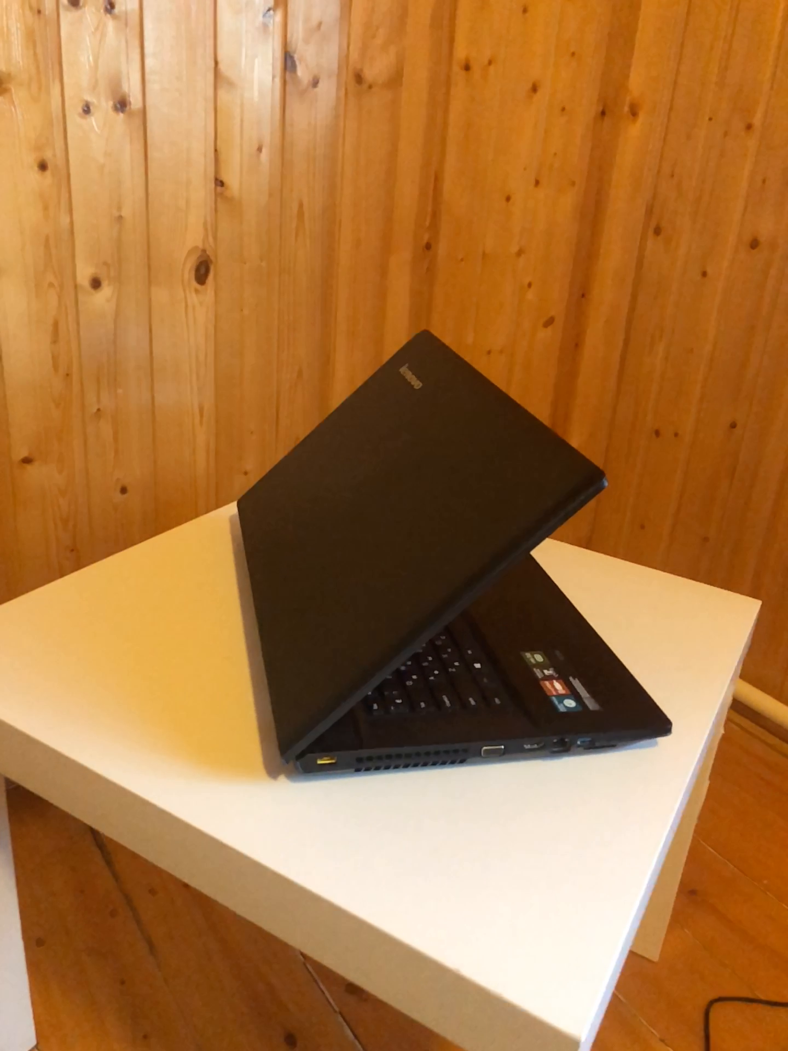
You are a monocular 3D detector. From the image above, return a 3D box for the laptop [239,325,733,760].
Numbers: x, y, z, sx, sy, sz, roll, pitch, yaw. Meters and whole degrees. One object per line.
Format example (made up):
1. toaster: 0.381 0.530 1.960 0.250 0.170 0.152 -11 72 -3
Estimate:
1. laptop: 0.023 -0.026 0.712 0.271 0.184 0.412 -1 24 -14
